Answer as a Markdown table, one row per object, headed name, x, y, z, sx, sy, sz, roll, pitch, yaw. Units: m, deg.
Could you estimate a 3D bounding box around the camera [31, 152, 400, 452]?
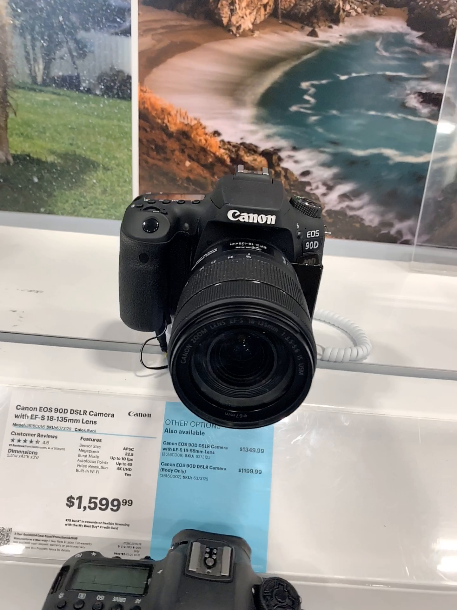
| name | x | y | z | sx | sy | sz | roll | pitch | yaw |
| --- | --- | --- | --- | --- | --- | --- | --- | --- | --- |
| camera | -0.007 | -0.018 | 0.288 | 0.148 | 0.104 | 0.171 | 4 | 28 | -1 |
